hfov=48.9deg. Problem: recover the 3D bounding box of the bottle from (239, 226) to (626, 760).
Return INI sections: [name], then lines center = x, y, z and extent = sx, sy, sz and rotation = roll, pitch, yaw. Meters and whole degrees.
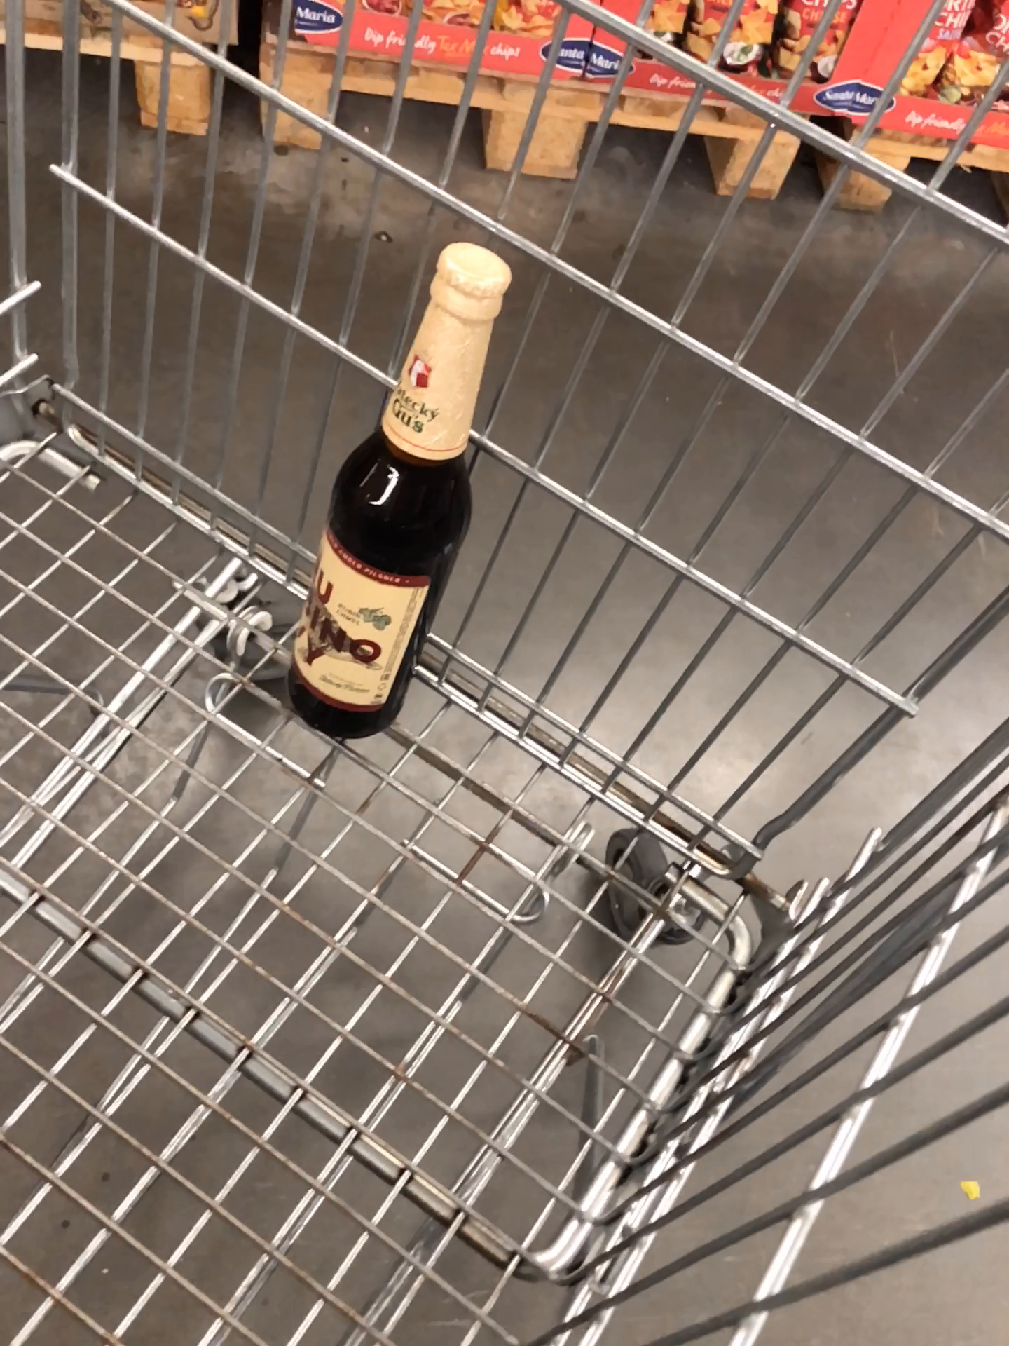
[bottle]
center = -0.045, -0.075, 0.519
extent = 0.080, 0.239, 0.080
rotation = 15, 44, -14
